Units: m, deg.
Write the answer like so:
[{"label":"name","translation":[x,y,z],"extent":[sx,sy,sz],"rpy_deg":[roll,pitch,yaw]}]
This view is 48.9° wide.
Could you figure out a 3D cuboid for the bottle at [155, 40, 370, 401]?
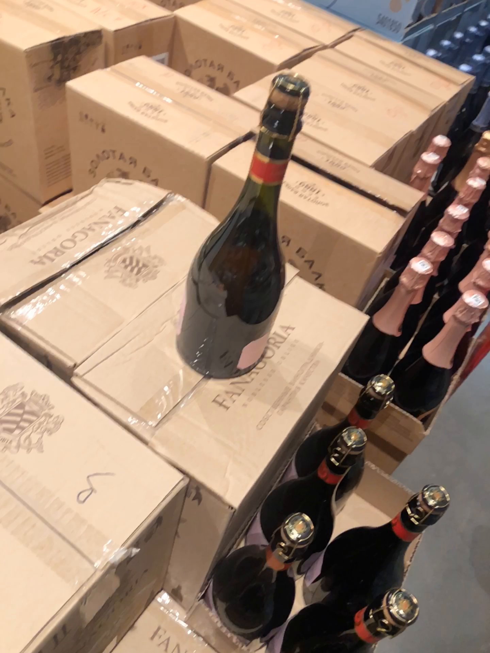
[{"label":"bottle","translation":[-0.001,-0.076,0.495],"extent":[0.100,0.298,0.111],"rpy_deg":[28,49,11]}]
